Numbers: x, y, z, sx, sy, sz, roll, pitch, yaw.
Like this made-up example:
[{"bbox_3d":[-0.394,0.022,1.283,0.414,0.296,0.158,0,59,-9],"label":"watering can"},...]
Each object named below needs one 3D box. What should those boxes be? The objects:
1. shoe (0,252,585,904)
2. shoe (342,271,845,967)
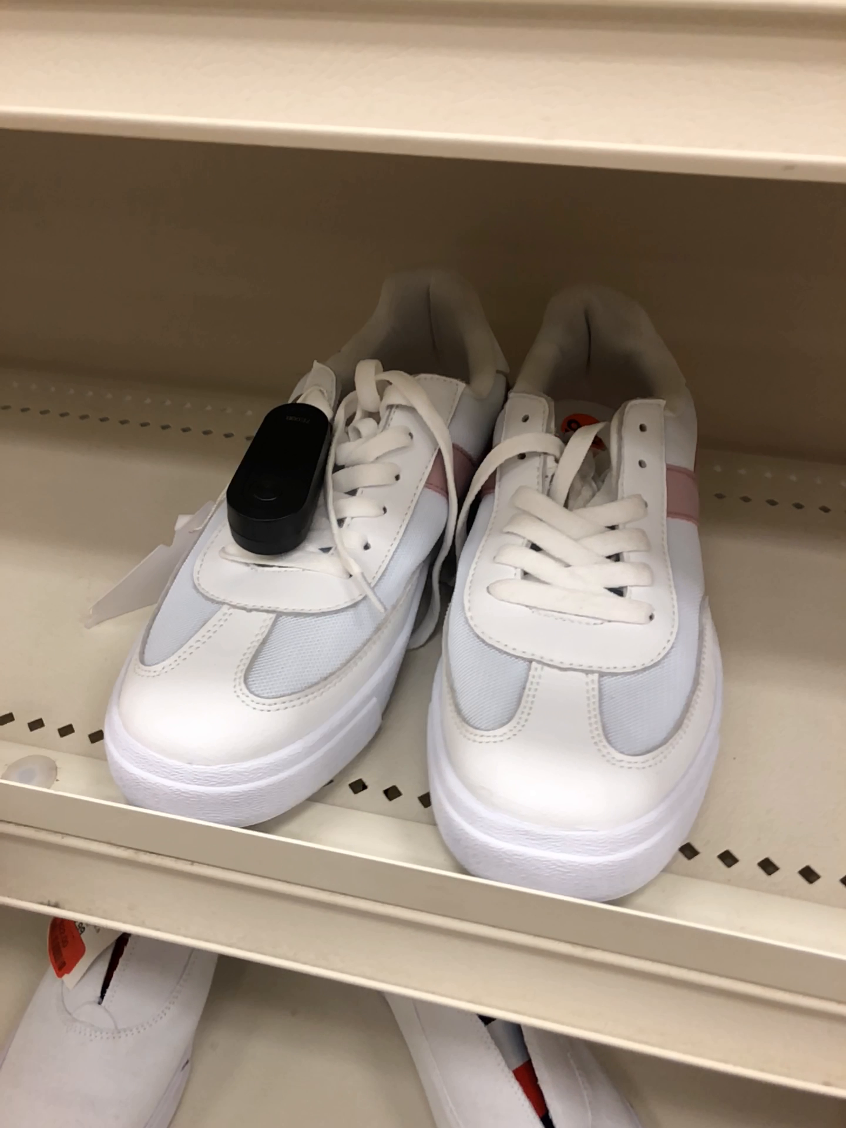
[{"bbox_3d":[-0.024,-0.051,0.407,0.120,0.119,0.393,10,25,14],"label":"shoe"},{"bbox_3d":[0.079,-0.037,0.402,0.120,0.119,0.393,7,25,10],"label":"shoe"}]
